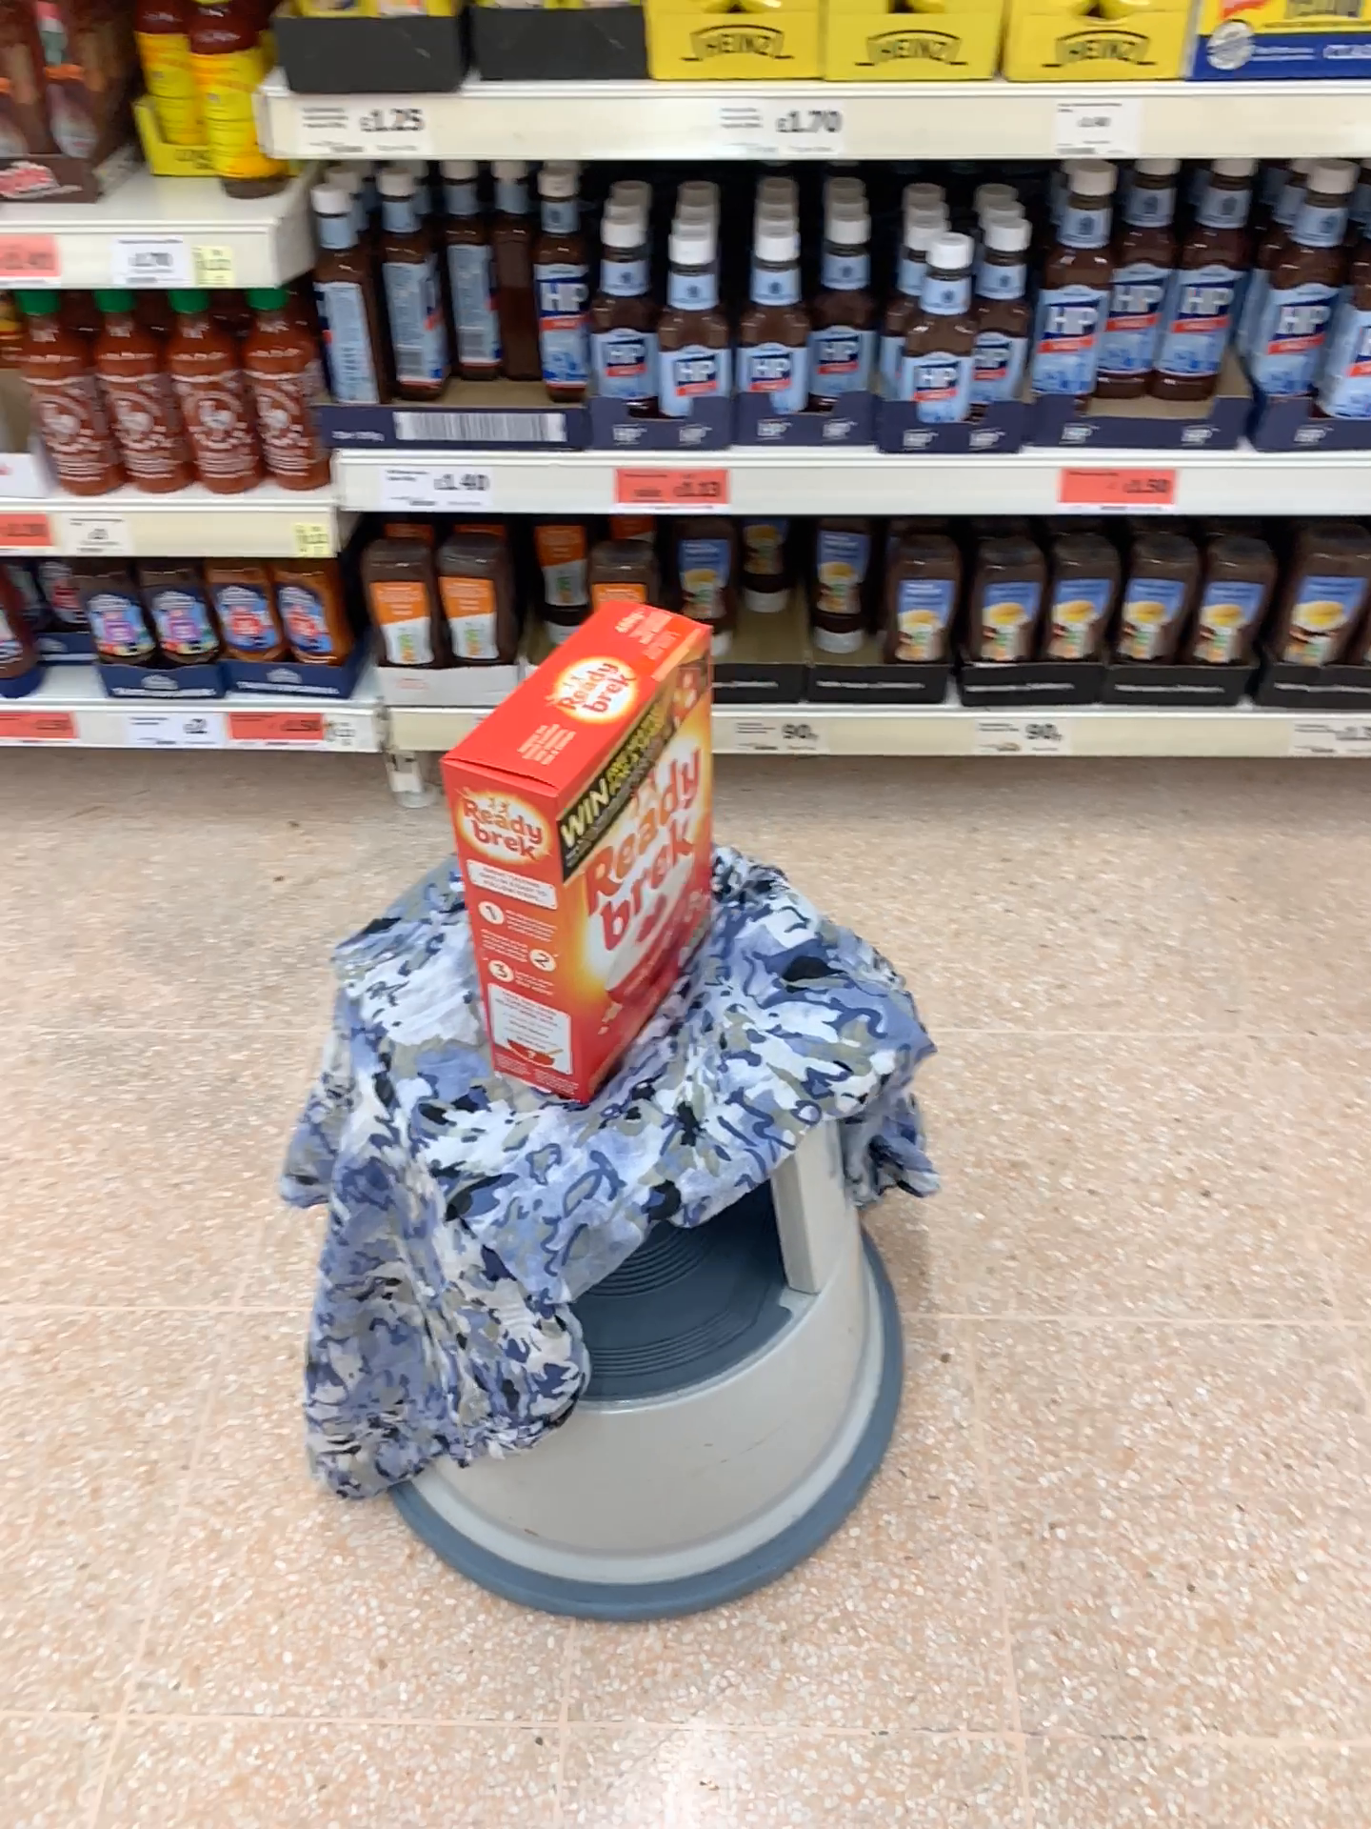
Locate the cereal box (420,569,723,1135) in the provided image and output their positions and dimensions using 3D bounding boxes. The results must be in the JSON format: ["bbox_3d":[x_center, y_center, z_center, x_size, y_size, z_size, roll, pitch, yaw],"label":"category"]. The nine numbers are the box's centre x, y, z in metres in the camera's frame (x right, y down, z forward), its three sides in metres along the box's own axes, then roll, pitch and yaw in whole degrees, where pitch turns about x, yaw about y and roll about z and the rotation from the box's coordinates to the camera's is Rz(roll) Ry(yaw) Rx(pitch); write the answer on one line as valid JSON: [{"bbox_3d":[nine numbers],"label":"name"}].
[{"bbox_3d":[-0.047,-0.029,0.738,0.060,0.238,0.171,19,48,21],"label":"cereal box"}]
